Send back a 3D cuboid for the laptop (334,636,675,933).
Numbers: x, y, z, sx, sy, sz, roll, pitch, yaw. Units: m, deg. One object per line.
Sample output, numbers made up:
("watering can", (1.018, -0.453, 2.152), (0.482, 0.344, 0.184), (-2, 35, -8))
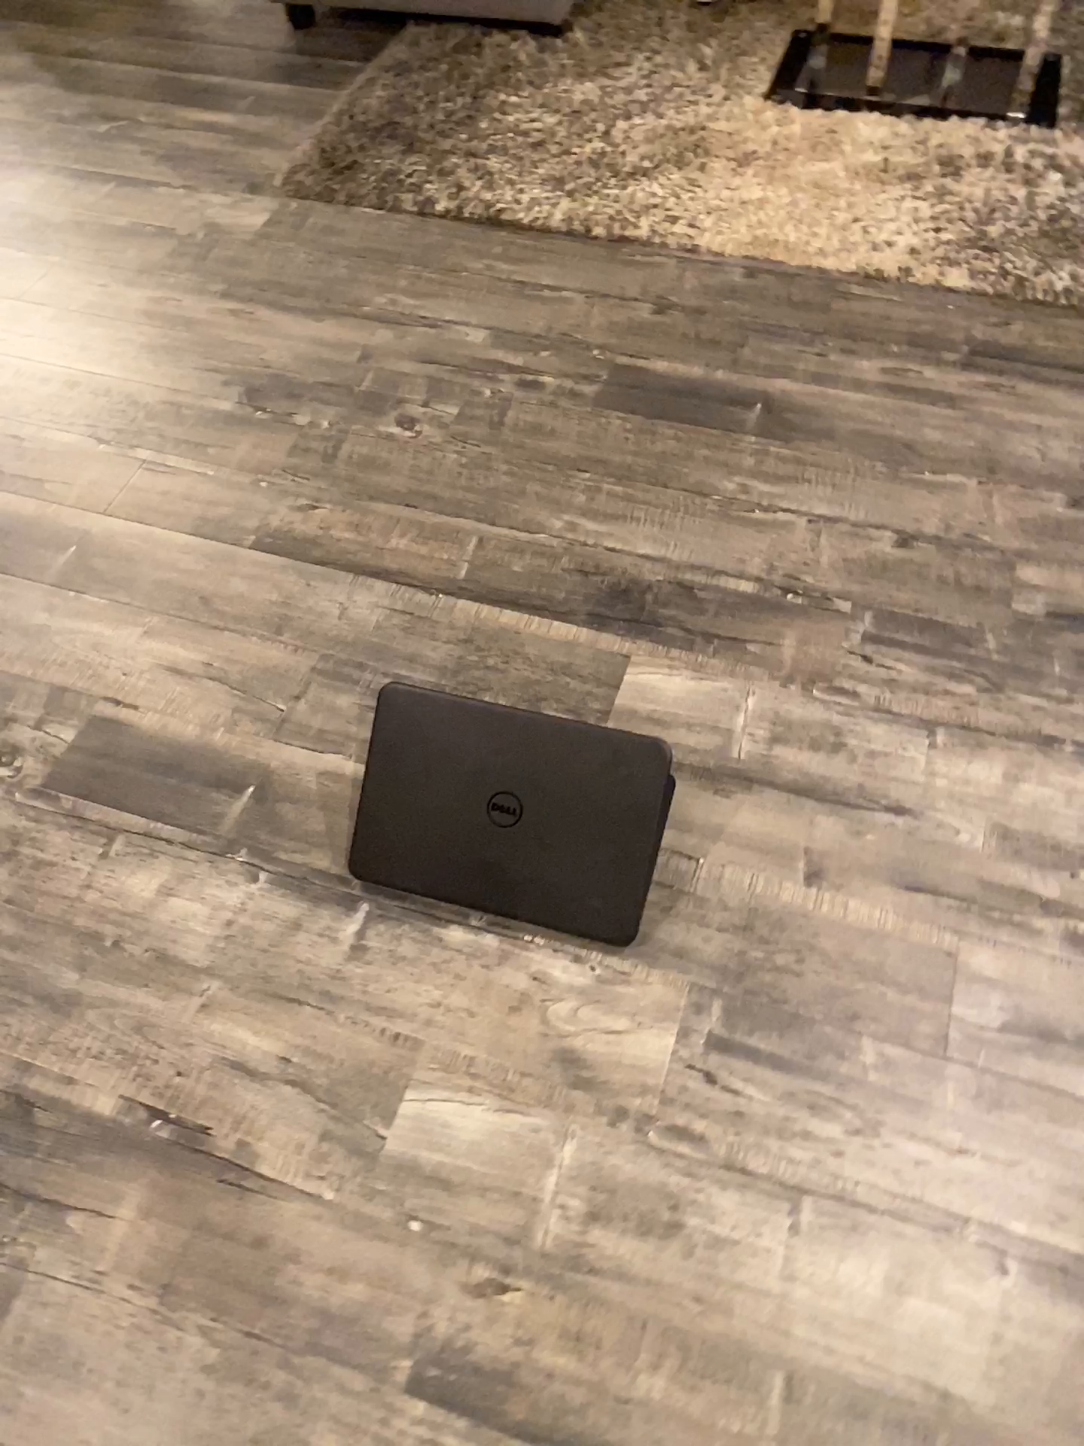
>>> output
("laptop", (-0.036, 0.072, 1.354), (0.352, 0.170, 0.231), (12, 57, 11))
